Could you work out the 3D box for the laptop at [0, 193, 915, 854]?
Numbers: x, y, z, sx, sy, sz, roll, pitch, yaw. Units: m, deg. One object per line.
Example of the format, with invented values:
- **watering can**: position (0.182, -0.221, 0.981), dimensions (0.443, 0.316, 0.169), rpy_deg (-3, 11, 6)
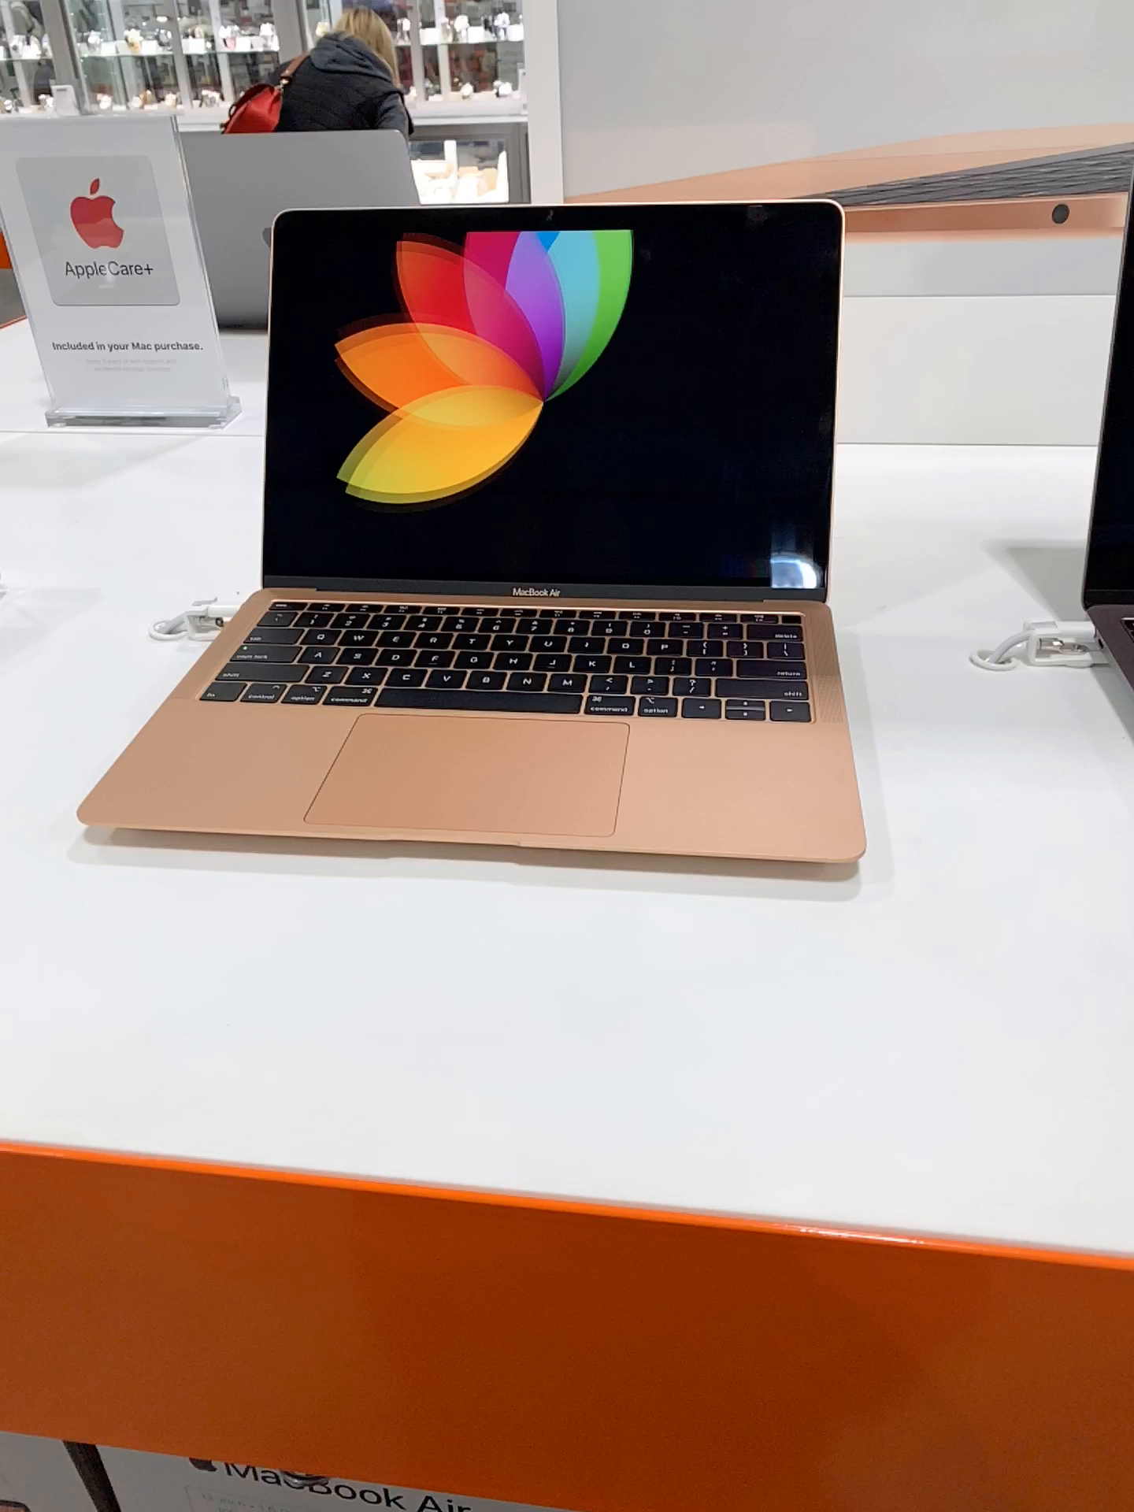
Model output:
- **laptop**: position (-0.026, -0.129, 0.515), dimensions (0.293, 0.170, 0.311), rpy_deg (2, 33, 7)
